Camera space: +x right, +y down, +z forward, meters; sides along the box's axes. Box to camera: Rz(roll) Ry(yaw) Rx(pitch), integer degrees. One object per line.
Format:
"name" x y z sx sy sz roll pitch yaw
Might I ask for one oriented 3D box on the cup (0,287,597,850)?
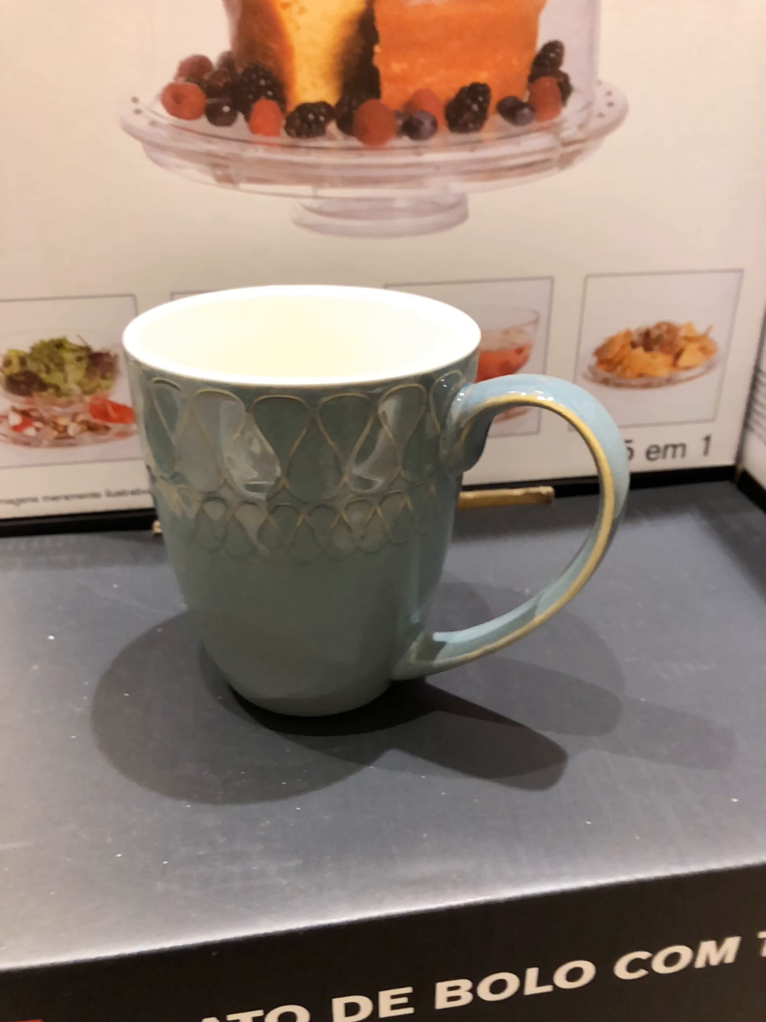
"cup" -0.018 0.006 0.232 0.130 0.099 0.091 8 31 13
